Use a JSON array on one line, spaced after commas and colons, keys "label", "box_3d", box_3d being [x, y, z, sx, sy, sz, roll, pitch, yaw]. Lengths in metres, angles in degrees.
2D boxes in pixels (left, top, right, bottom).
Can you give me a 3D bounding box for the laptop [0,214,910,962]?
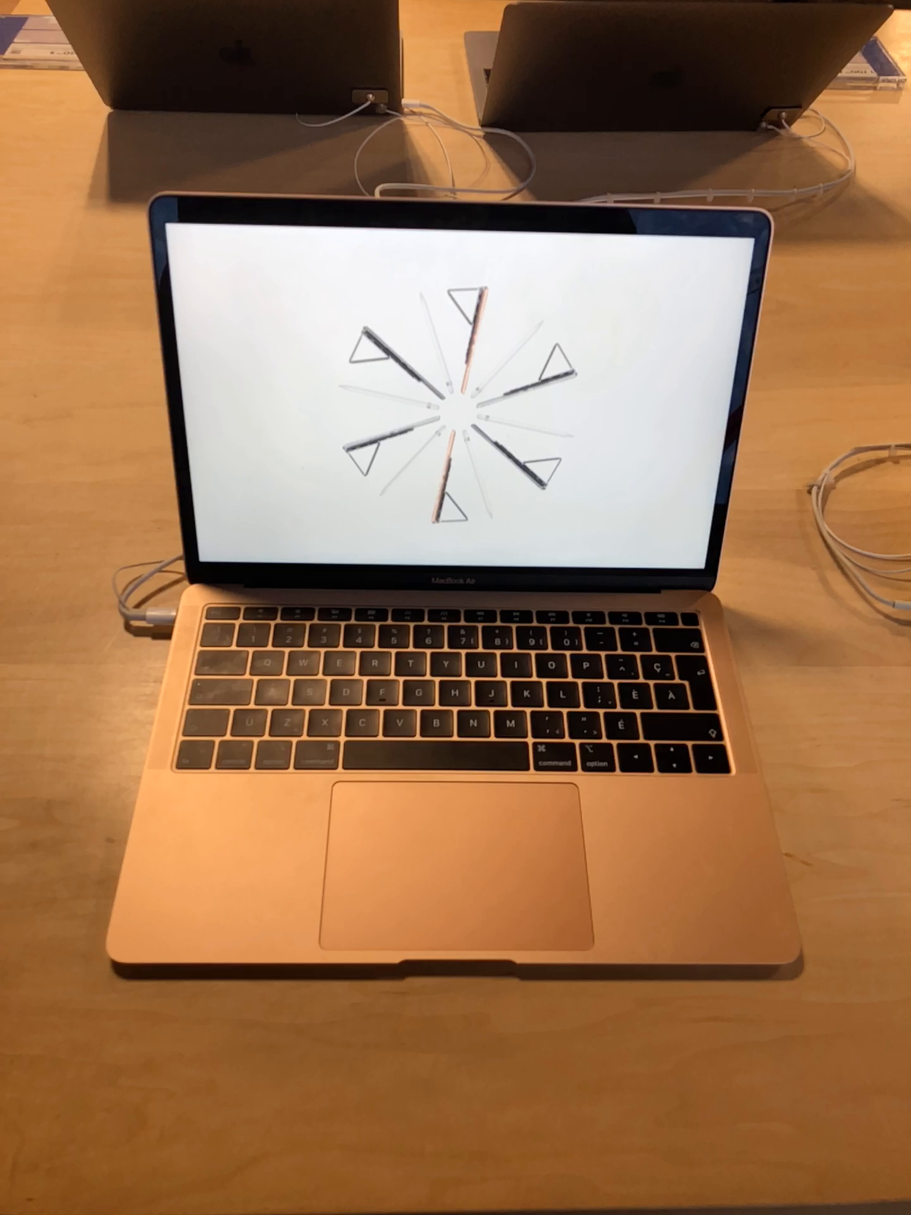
[{"label": "laptop", "box_3d": [0.007, -0.018, 0.448, 0.291, 0.183, 0.284, 1, 49, -1]}]
